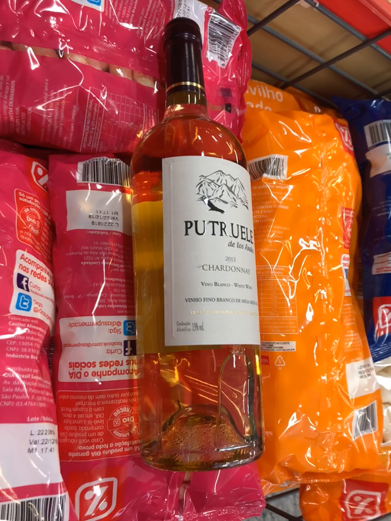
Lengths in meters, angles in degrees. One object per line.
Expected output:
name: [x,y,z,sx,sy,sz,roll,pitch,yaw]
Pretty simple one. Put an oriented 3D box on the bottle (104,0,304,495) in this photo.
bottle: [-0.004,-0.033,0.272,0.080,0.070,0.300,7,73,-37]
